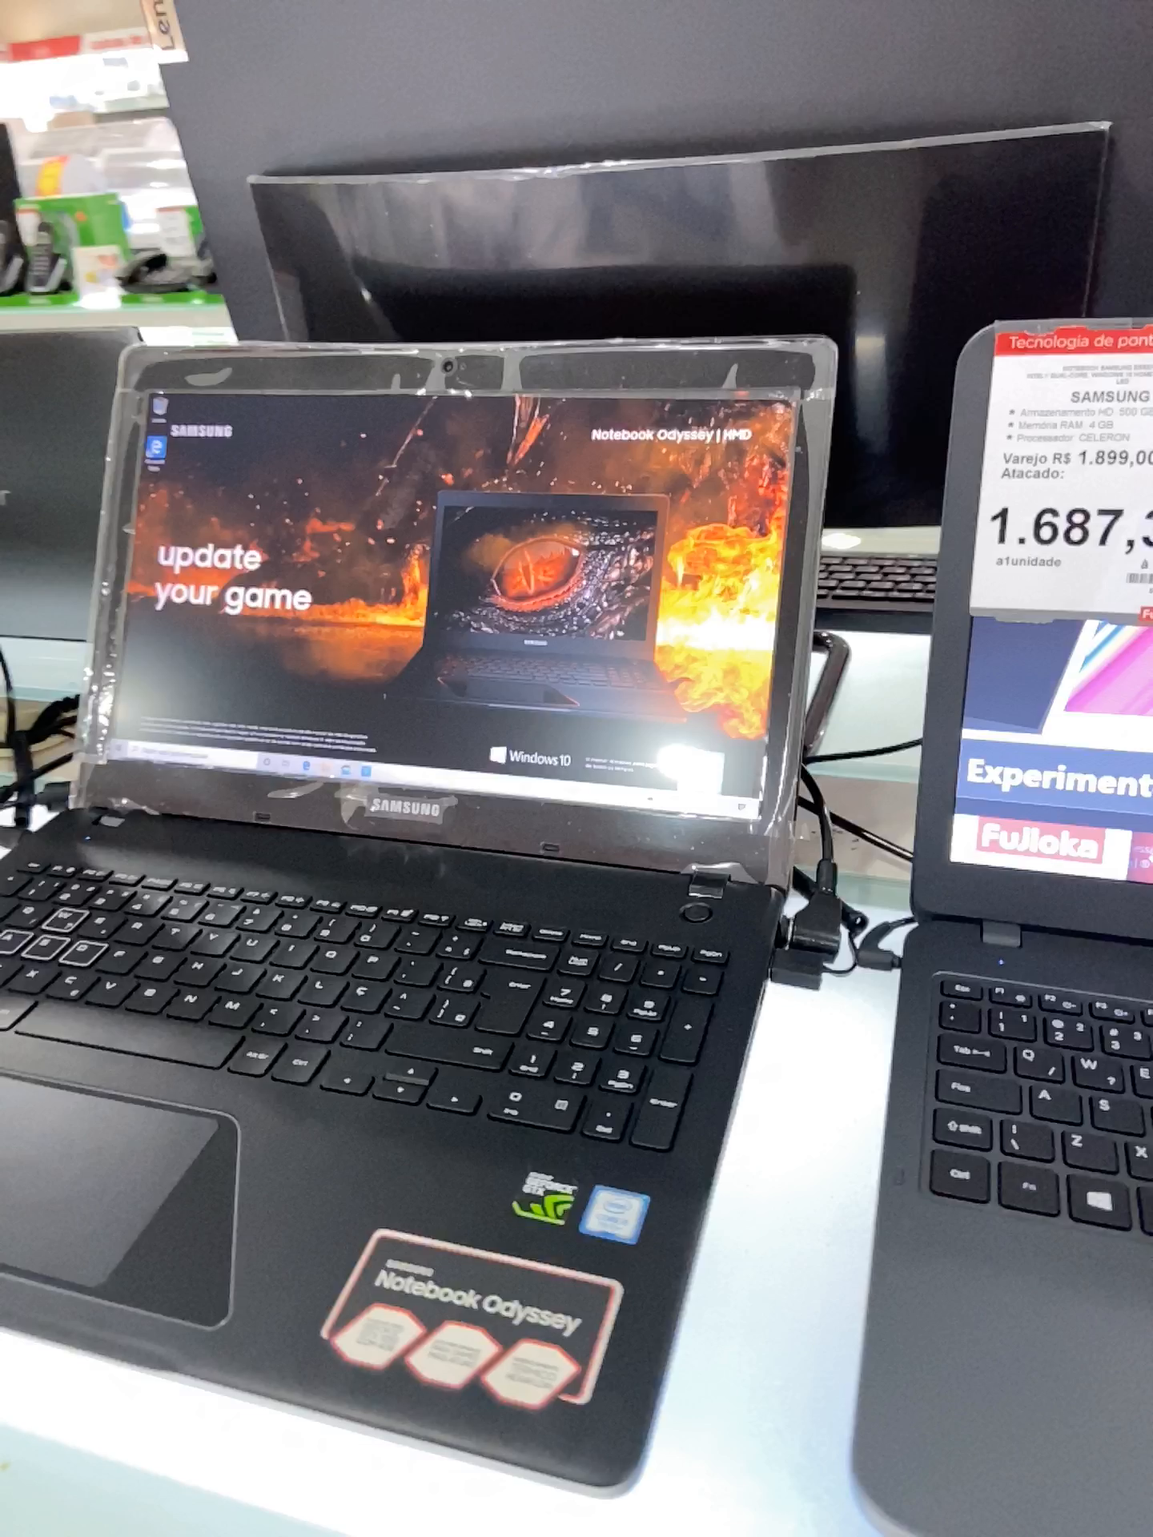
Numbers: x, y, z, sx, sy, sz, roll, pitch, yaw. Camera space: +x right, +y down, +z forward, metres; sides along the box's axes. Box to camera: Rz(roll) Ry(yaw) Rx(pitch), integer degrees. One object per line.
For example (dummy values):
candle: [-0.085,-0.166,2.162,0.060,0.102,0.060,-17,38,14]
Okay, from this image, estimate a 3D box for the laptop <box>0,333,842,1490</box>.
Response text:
laptop: [-0.111,-0.023,0.461,0.373,0.202,0.393,5,30,18]
